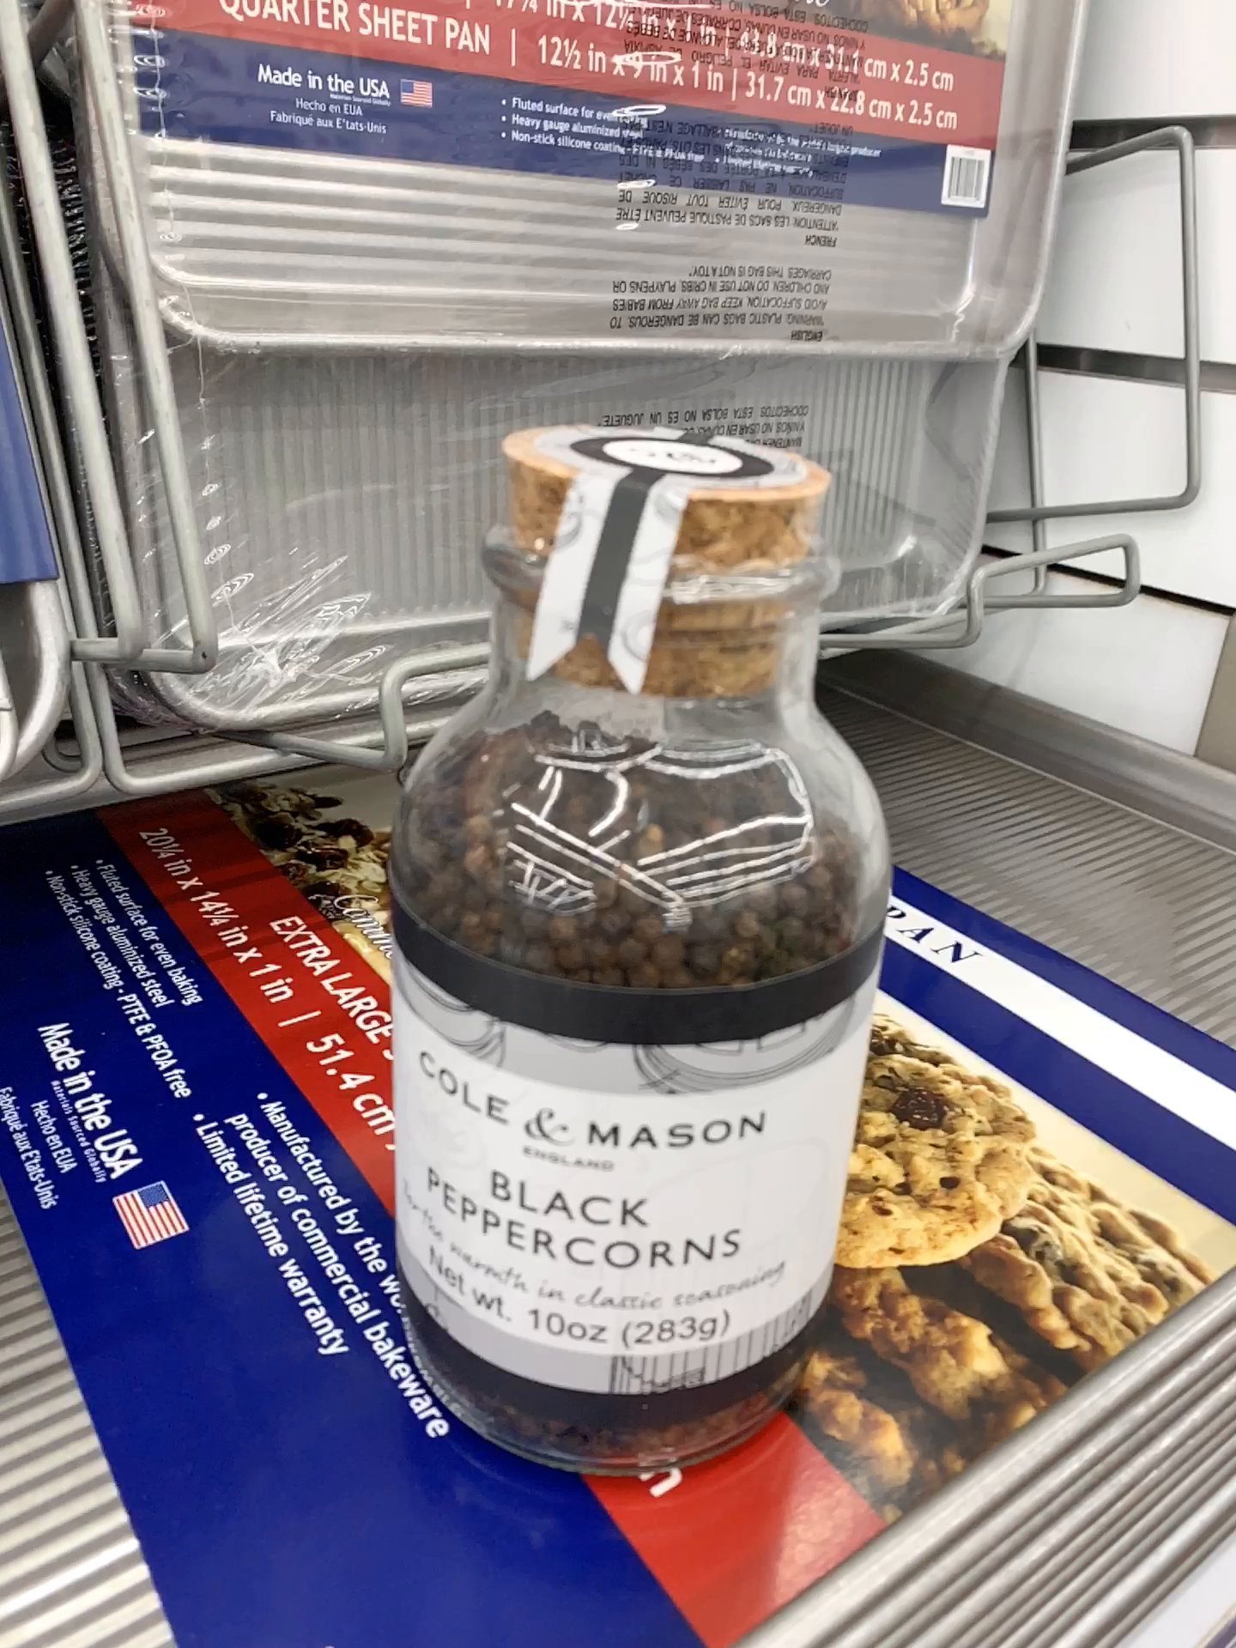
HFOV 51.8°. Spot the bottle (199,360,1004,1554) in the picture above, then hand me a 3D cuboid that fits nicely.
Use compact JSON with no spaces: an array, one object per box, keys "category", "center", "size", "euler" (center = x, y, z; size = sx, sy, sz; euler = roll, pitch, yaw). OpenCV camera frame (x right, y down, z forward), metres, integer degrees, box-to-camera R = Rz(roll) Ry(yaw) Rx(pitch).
[{"category":"bottle","center":[0.003,0.014,0.212],"size":[0.090,0.159,0.090],"euler":[2,24,-1]}]
